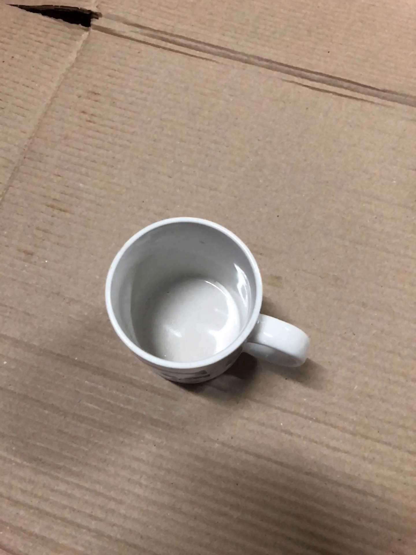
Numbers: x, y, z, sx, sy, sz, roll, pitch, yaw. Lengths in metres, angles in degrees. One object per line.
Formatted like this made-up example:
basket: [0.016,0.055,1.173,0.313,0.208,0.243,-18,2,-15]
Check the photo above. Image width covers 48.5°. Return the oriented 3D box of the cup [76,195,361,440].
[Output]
cup: [0.007,0.025,0.245,0.110,0.080,0.080,17,68,7]
